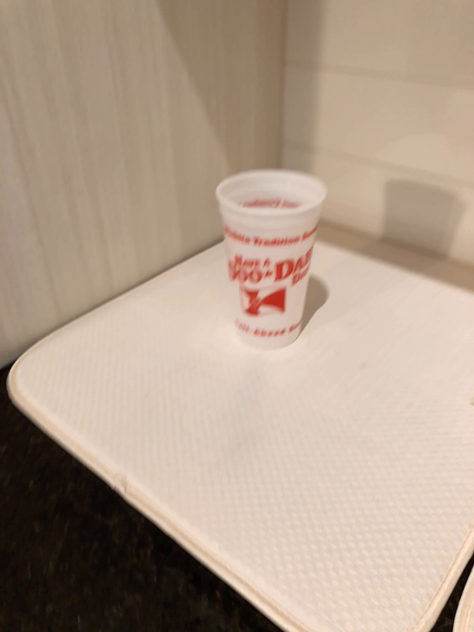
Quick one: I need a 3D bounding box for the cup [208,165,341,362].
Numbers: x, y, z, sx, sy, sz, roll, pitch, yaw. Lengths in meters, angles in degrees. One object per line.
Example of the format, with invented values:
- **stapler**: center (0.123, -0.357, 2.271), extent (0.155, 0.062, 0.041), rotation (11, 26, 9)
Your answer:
- **cup**: center (0.036, -0.049, 0.477), extent (0.100, 0.139, 0.101), rotation (-1, 34, 0)
